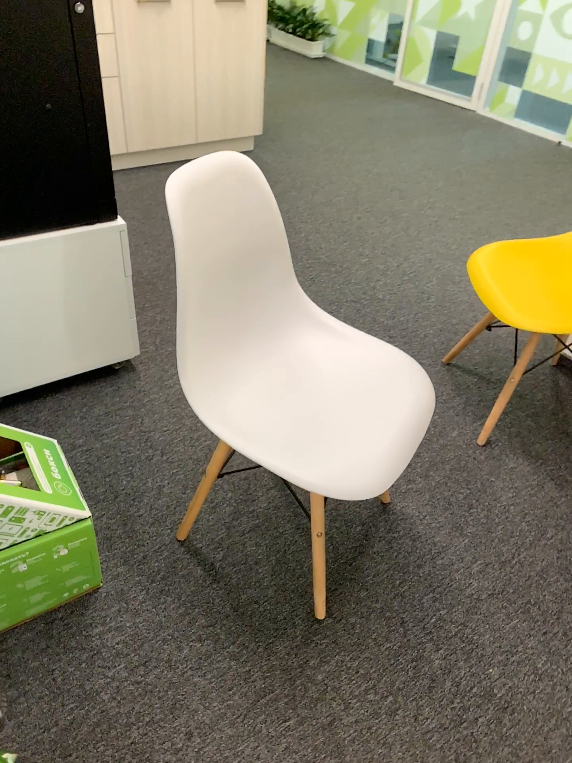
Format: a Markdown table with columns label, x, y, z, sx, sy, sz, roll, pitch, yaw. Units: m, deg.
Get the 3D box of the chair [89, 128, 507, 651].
| label | x | y | z | sx | sy | sz | roll | pitch | yaw |
| --- | --- | --- | --- | --- | --- | --- | --- | --- | --- |
| chair | 0.015 | 0.021 | 1.181 | 0.500 | 0.816 | 0.462 | 23 | 42 | 21 |
